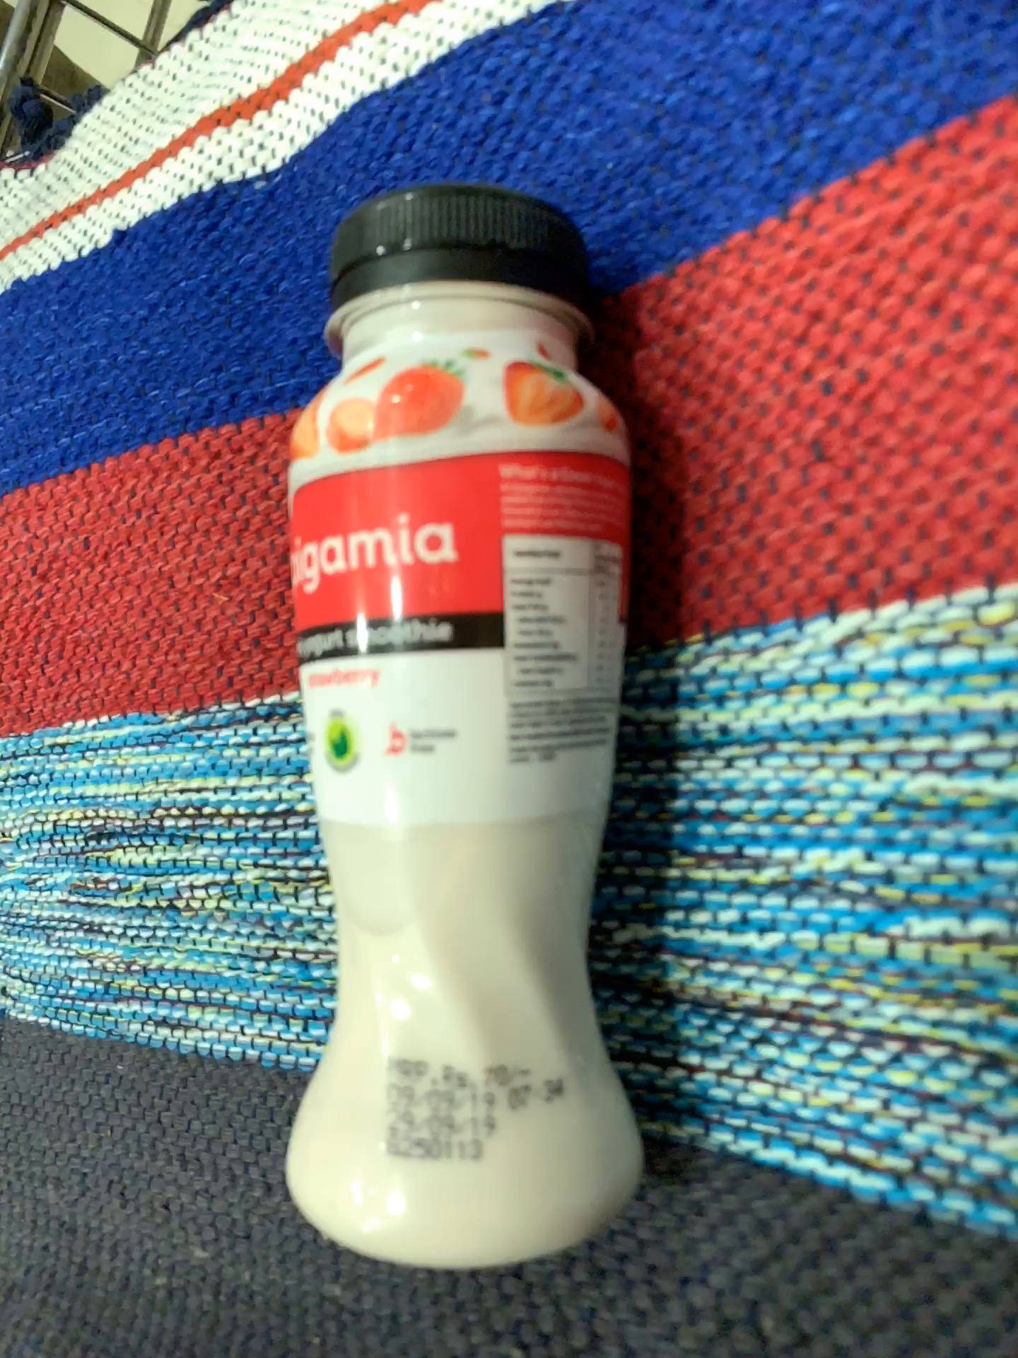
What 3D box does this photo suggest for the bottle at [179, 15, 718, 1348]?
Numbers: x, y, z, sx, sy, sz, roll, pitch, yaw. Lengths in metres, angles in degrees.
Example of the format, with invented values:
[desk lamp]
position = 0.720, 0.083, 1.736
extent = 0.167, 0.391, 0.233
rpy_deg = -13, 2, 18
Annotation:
[bottle]
position = -0.007, -0.001, 0.163
extent = 0.060, 0.050, 0.160
rpy_deg = -3, 82, 38
